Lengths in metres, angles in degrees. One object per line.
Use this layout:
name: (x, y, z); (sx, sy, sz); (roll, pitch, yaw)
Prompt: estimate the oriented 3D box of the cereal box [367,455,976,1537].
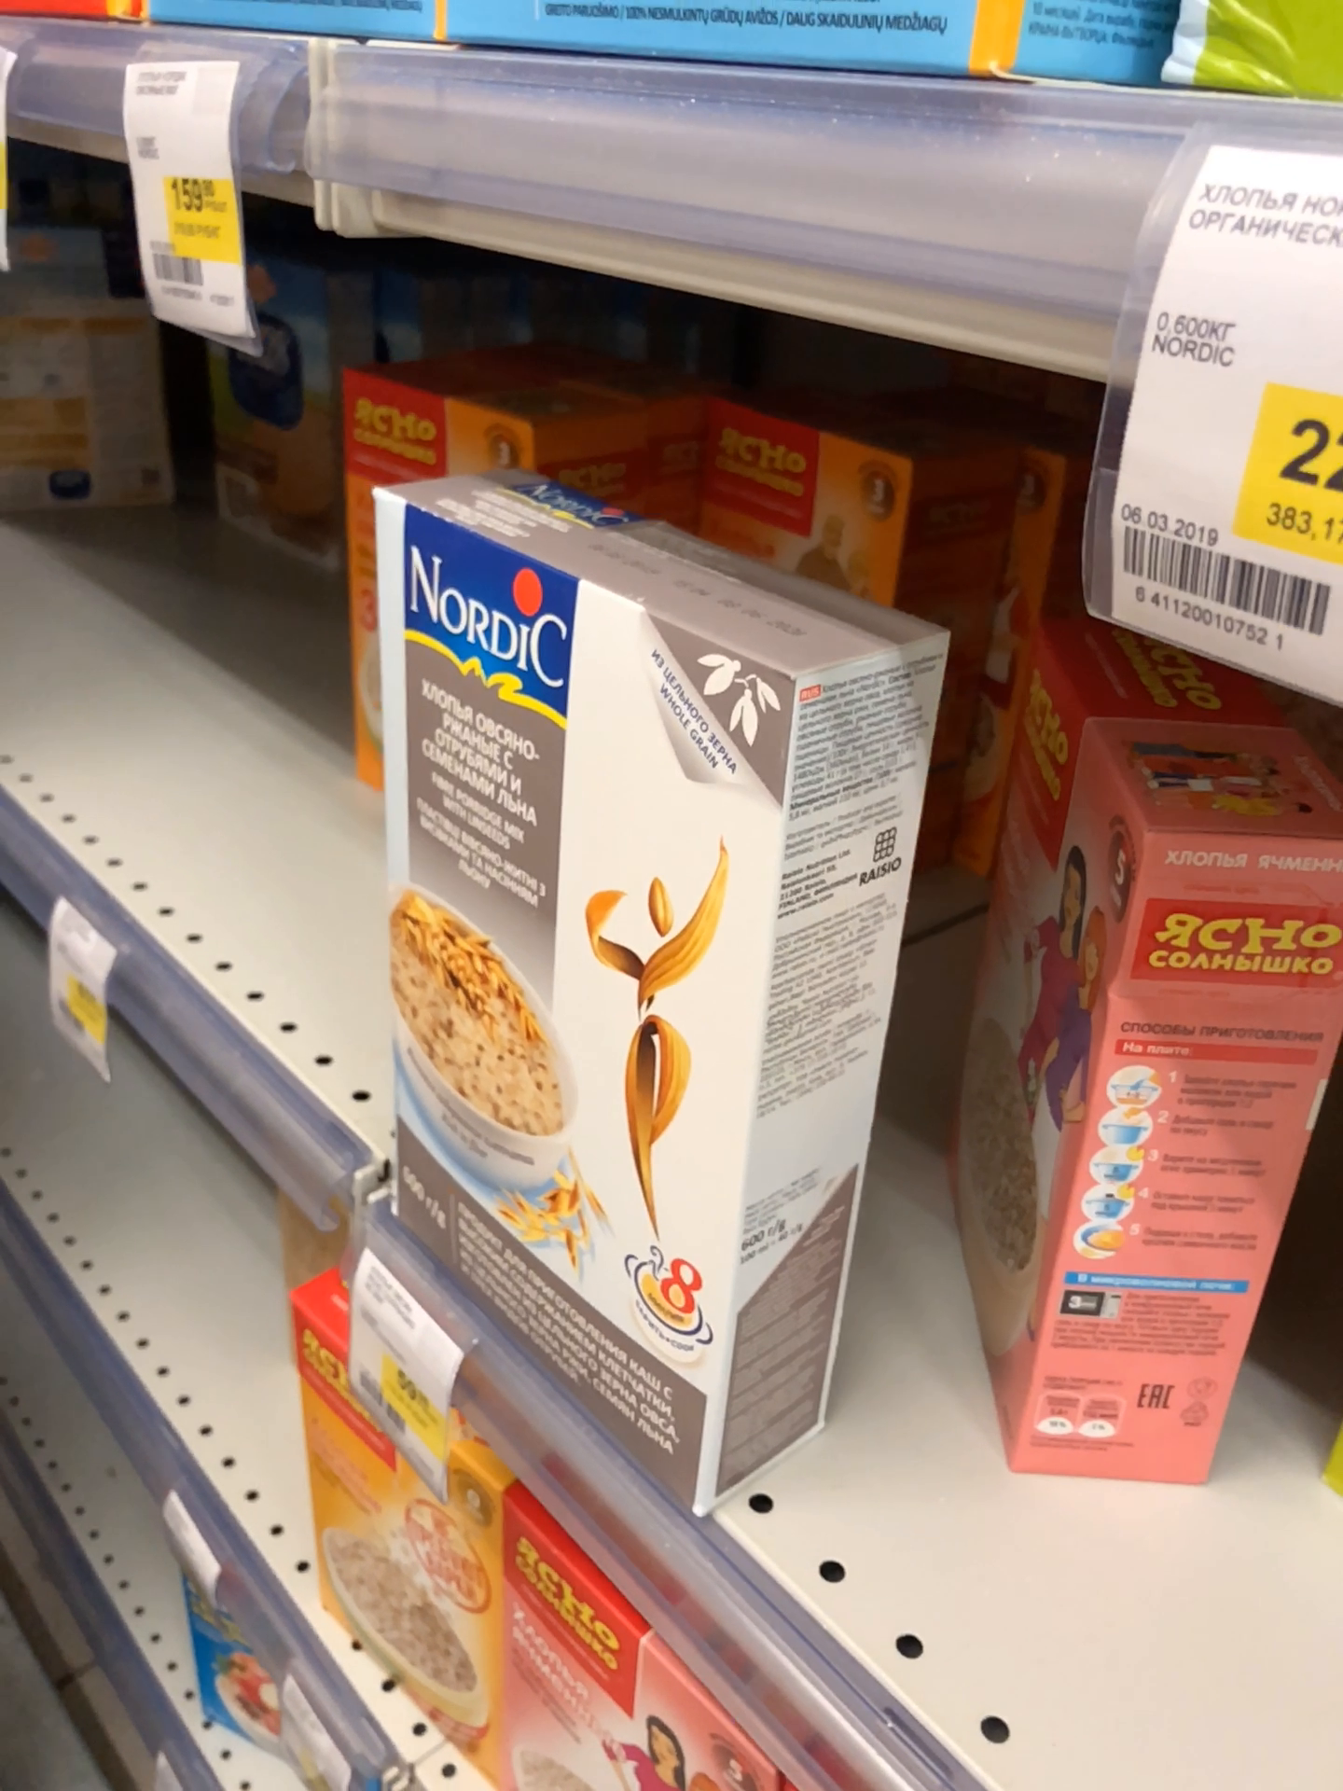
cereal box: (-0.012, 0.023, 0.374); (0.050, 0.229, 0.140); (-21, 37, -37)
